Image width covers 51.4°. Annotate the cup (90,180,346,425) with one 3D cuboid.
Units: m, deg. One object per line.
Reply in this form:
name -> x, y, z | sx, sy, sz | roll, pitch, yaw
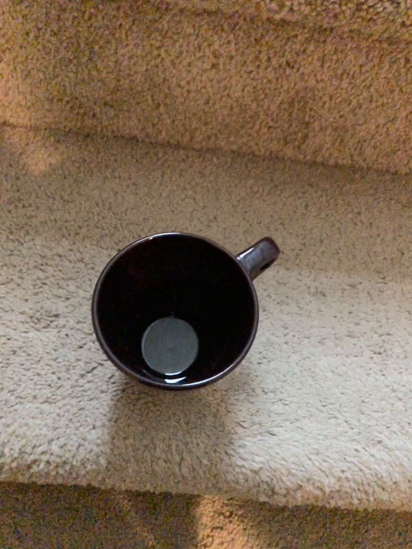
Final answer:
cup -> 0.003, 0.022, 0.270 | 0.110, 0.099, 0.080 | -31, 72, -19
